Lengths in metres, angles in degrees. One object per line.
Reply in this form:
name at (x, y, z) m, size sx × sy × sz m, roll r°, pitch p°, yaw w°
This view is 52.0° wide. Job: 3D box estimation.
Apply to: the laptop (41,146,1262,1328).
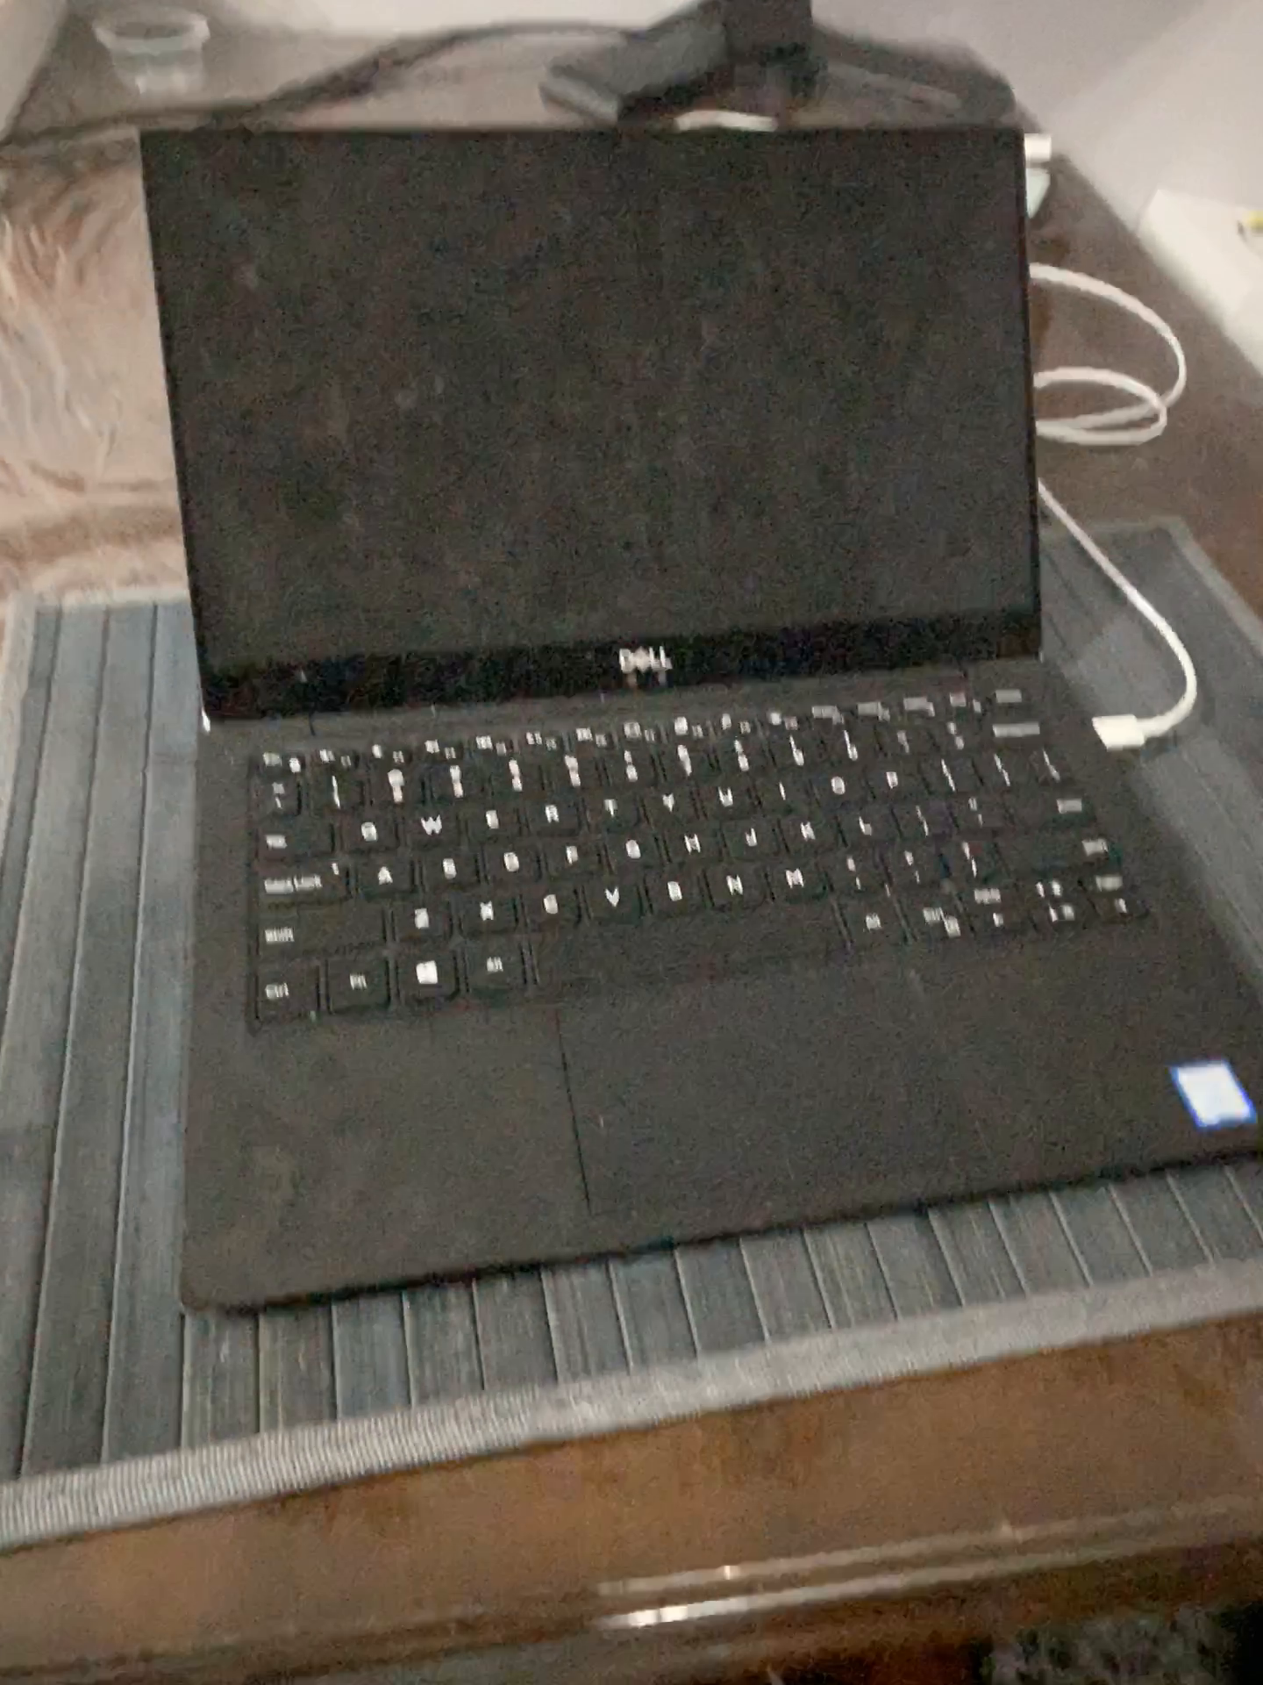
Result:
laptop at (0.023, -0.063, 0.352) m, size 0.282 × 0.129 × 0.299 m, roll -6°, pitch 48°, yaw -10°
